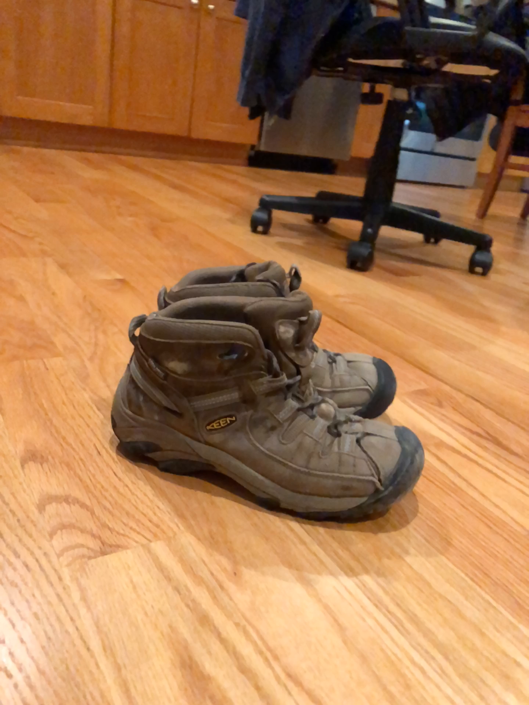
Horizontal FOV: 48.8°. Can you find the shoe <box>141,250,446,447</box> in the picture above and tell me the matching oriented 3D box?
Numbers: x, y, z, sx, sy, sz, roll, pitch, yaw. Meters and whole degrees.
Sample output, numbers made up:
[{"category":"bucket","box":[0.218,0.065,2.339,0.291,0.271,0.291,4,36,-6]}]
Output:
[{"category":"shoe","box":[0.020,-0.005,0.577,0.259,0.139,0.108,6,21,-8]}]

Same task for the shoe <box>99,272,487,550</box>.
[{"category":"shoe","box":[0.017,0.037,0.466,0.259,0.139,0.108,11,21,6]}]
